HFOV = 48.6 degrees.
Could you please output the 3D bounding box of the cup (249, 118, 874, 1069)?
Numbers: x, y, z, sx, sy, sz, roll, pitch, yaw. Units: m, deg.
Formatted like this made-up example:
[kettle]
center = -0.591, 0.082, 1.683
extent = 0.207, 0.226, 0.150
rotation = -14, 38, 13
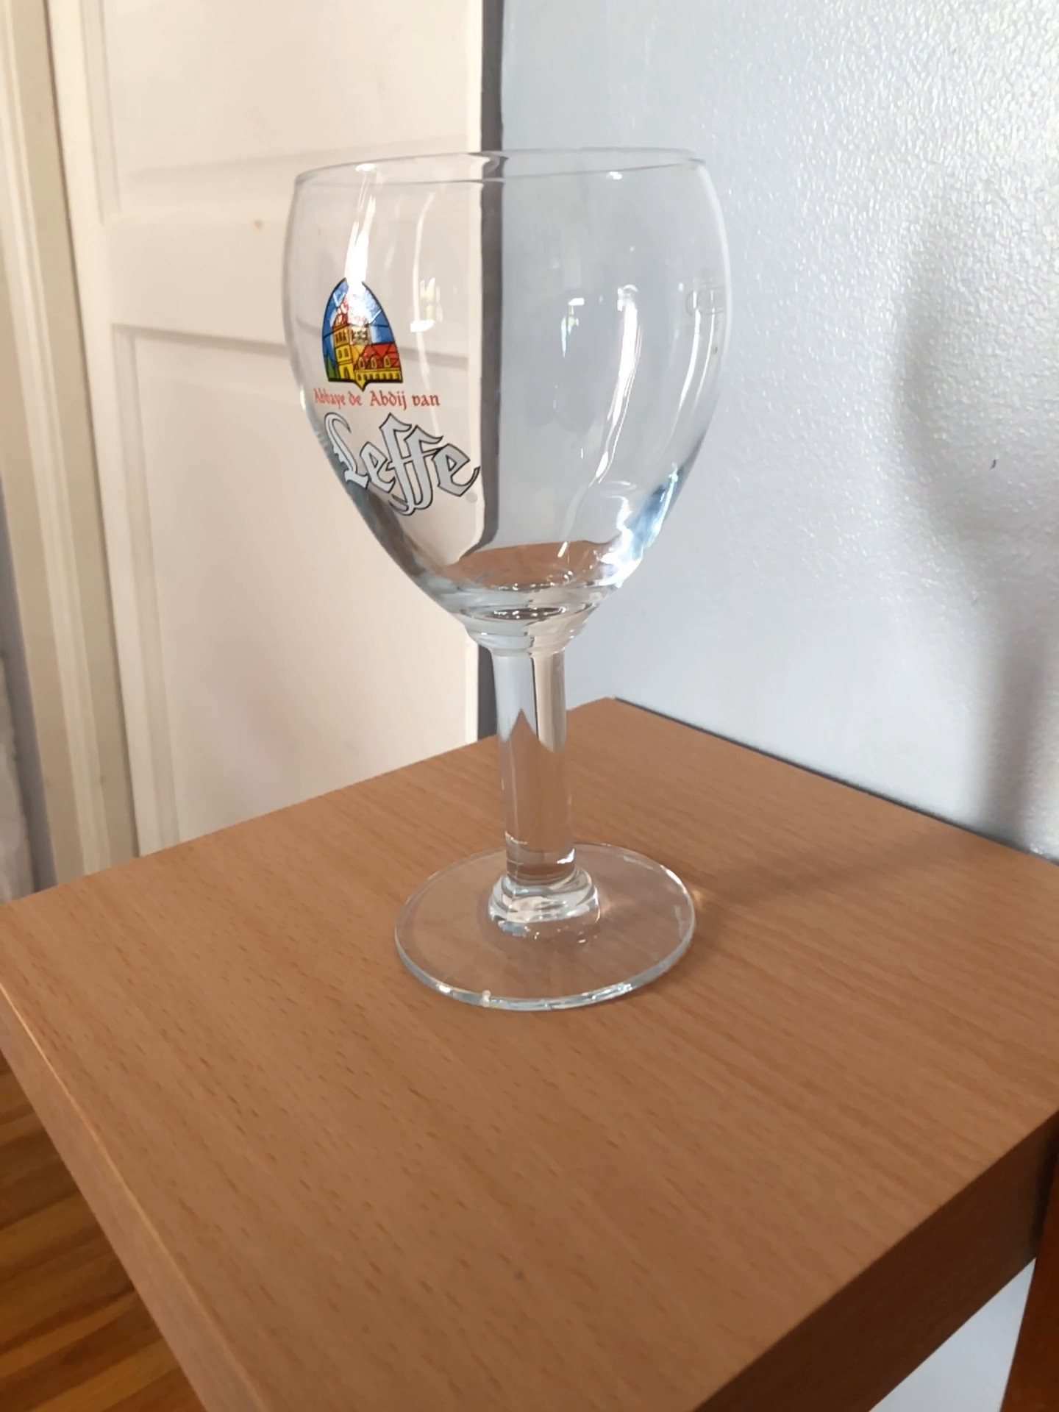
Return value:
[cup]
center = 0.007, -0.033, 0.287
extent = 0.095, 0.185, 0.101
rotation = 1, 19, 0
